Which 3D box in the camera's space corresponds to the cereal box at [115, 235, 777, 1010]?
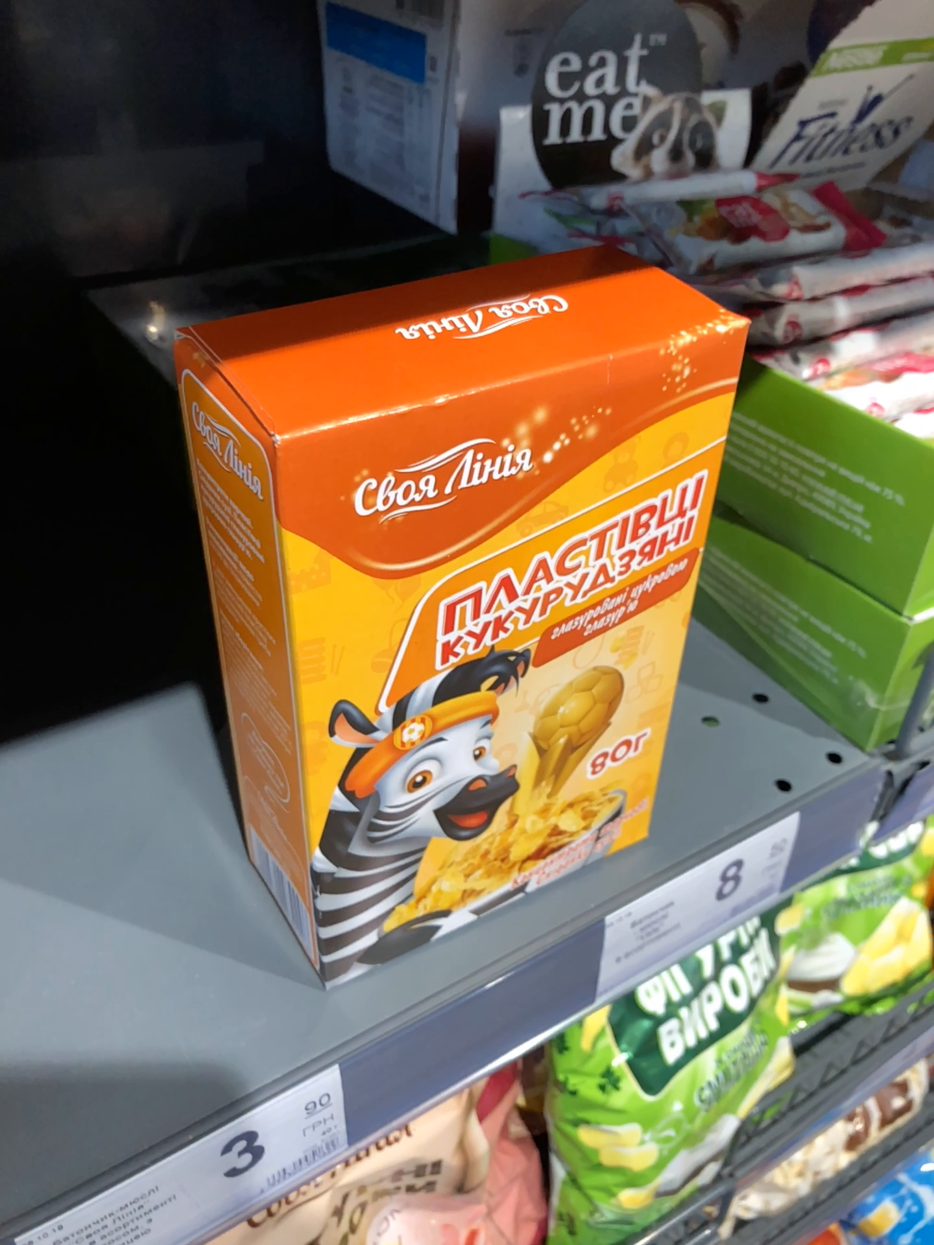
[{"bbox_3d":[-0.004,0.003,0.253,0.120,0.159,0.050,-19,43,-25],"label":"cereal box"}]
